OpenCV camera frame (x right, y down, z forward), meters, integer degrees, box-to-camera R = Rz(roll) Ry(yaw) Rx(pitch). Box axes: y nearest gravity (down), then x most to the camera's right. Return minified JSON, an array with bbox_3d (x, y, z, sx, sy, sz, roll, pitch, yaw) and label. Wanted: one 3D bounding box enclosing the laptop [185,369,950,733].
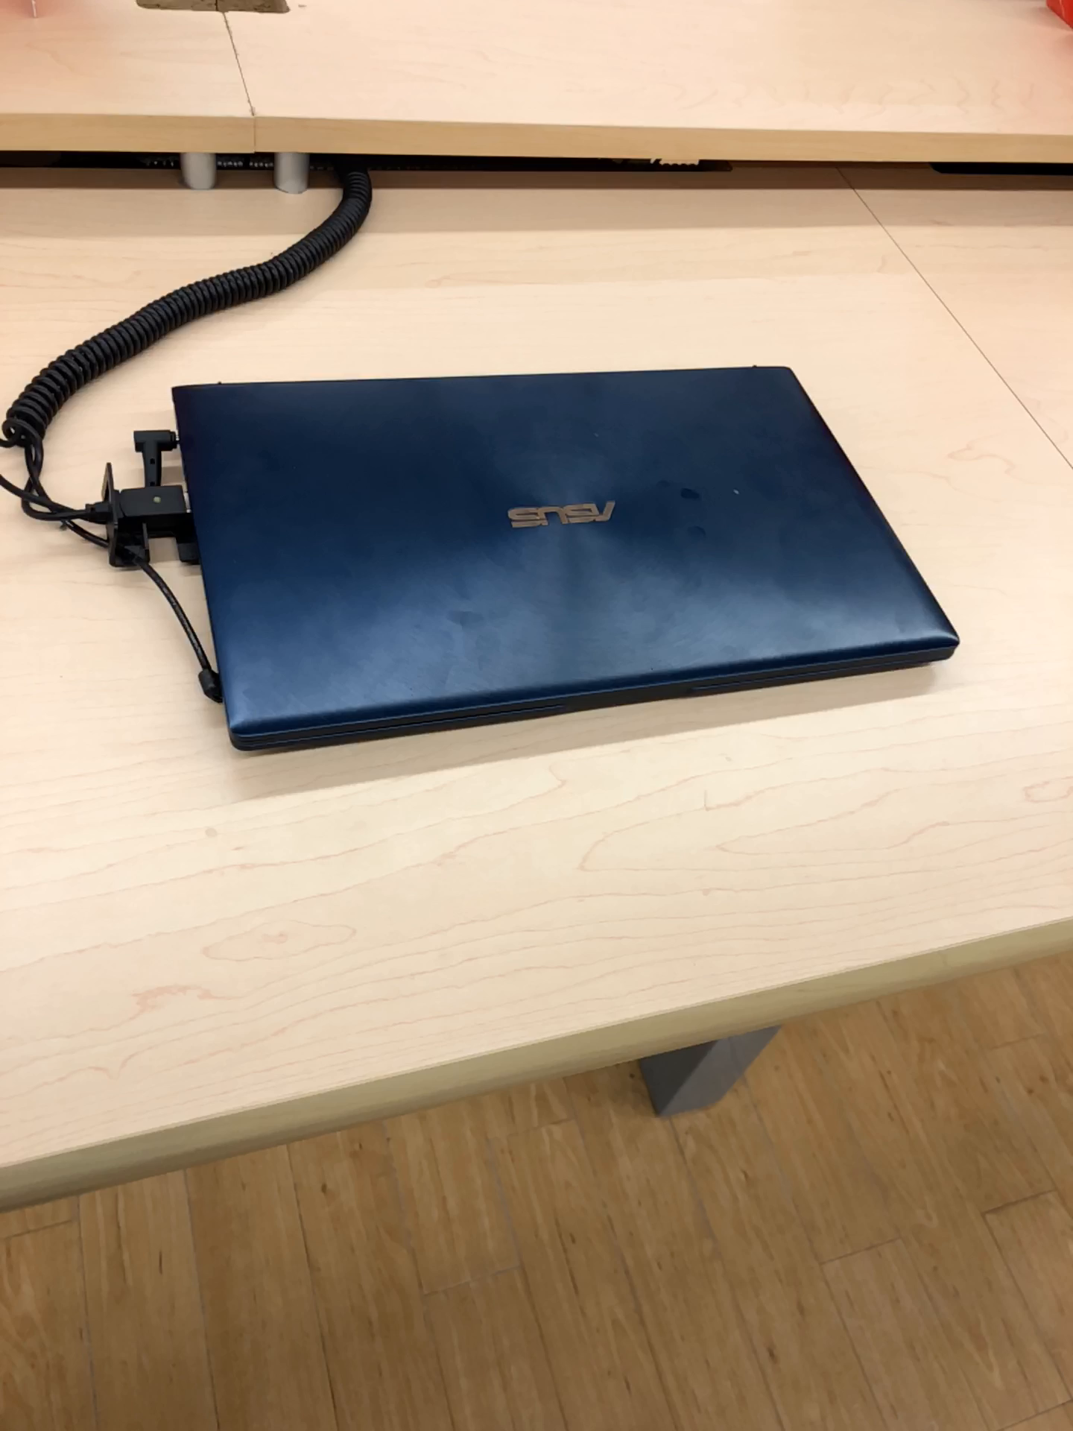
[{"bbox_3d":[0.012,-0.084,0.503,0.295,0.001,0.178,-7,56,-18],"label":"laptop"}]
